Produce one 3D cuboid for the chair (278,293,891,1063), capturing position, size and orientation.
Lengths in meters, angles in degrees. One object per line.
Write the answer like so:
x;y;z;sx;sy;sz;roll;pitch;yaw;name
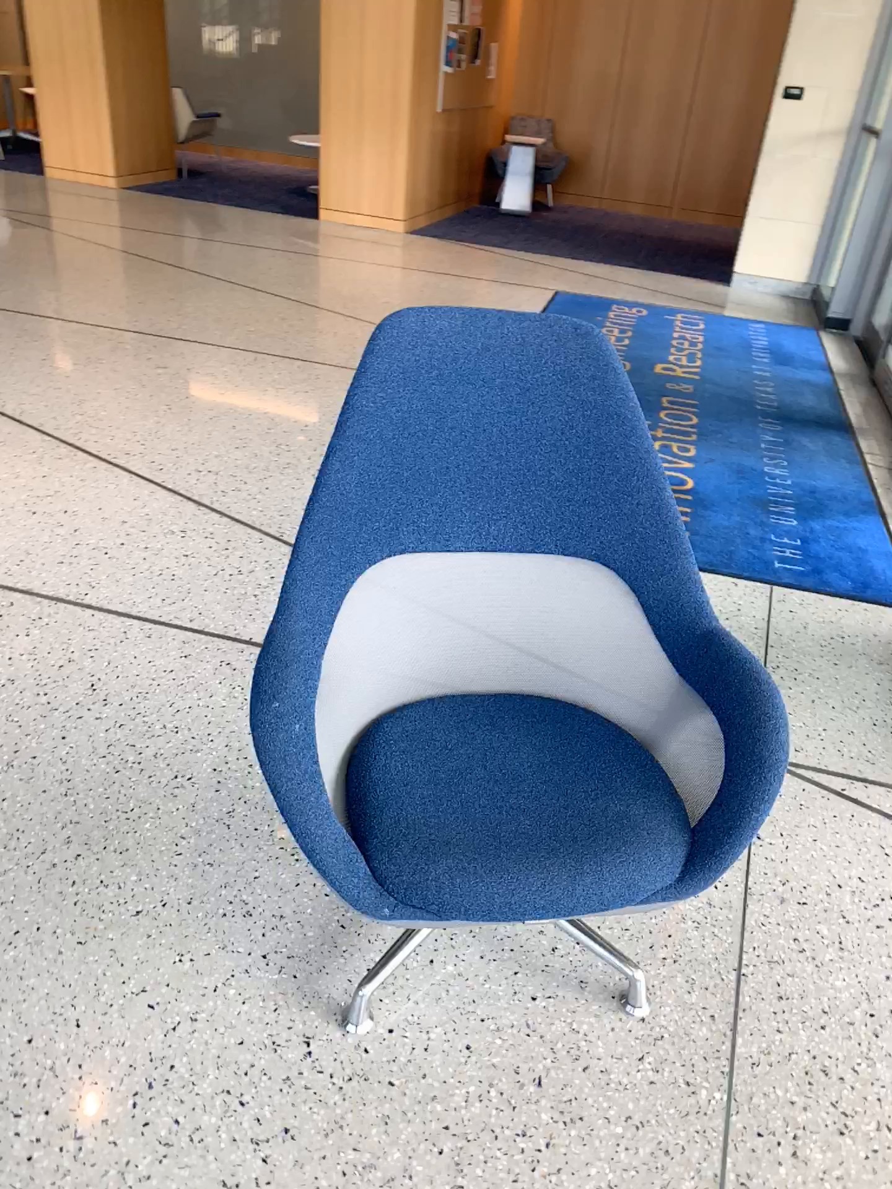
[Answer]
0.109;0.091;1.508;0.724;0.933;0.791;0;31;-9;chair
